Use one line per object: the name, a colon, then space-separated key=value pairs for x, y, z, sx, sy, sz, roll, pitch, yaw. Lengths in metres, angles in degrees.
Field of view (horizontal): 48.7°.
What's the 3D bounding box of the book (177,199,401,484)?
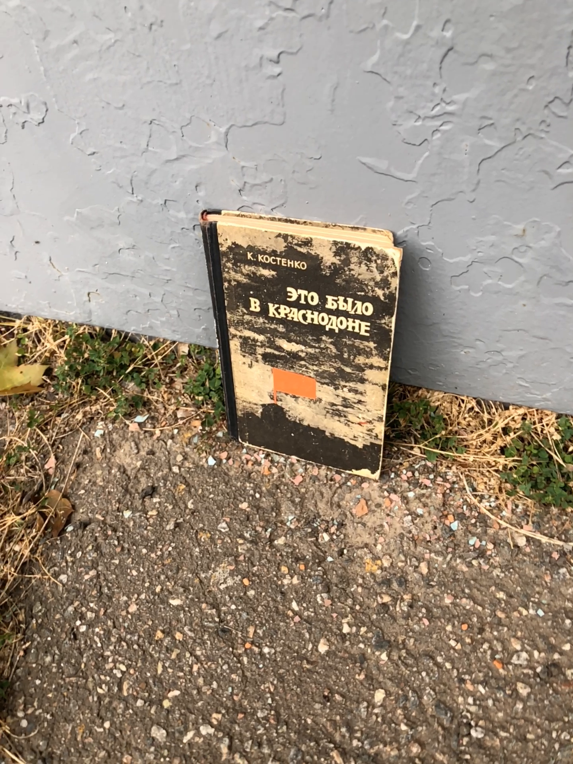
book: x=0.004 y=-0.023 z=0.457 sx=0.140 sy=0.199 sz=0.030 roll=13 pitch=41 yaw=20
